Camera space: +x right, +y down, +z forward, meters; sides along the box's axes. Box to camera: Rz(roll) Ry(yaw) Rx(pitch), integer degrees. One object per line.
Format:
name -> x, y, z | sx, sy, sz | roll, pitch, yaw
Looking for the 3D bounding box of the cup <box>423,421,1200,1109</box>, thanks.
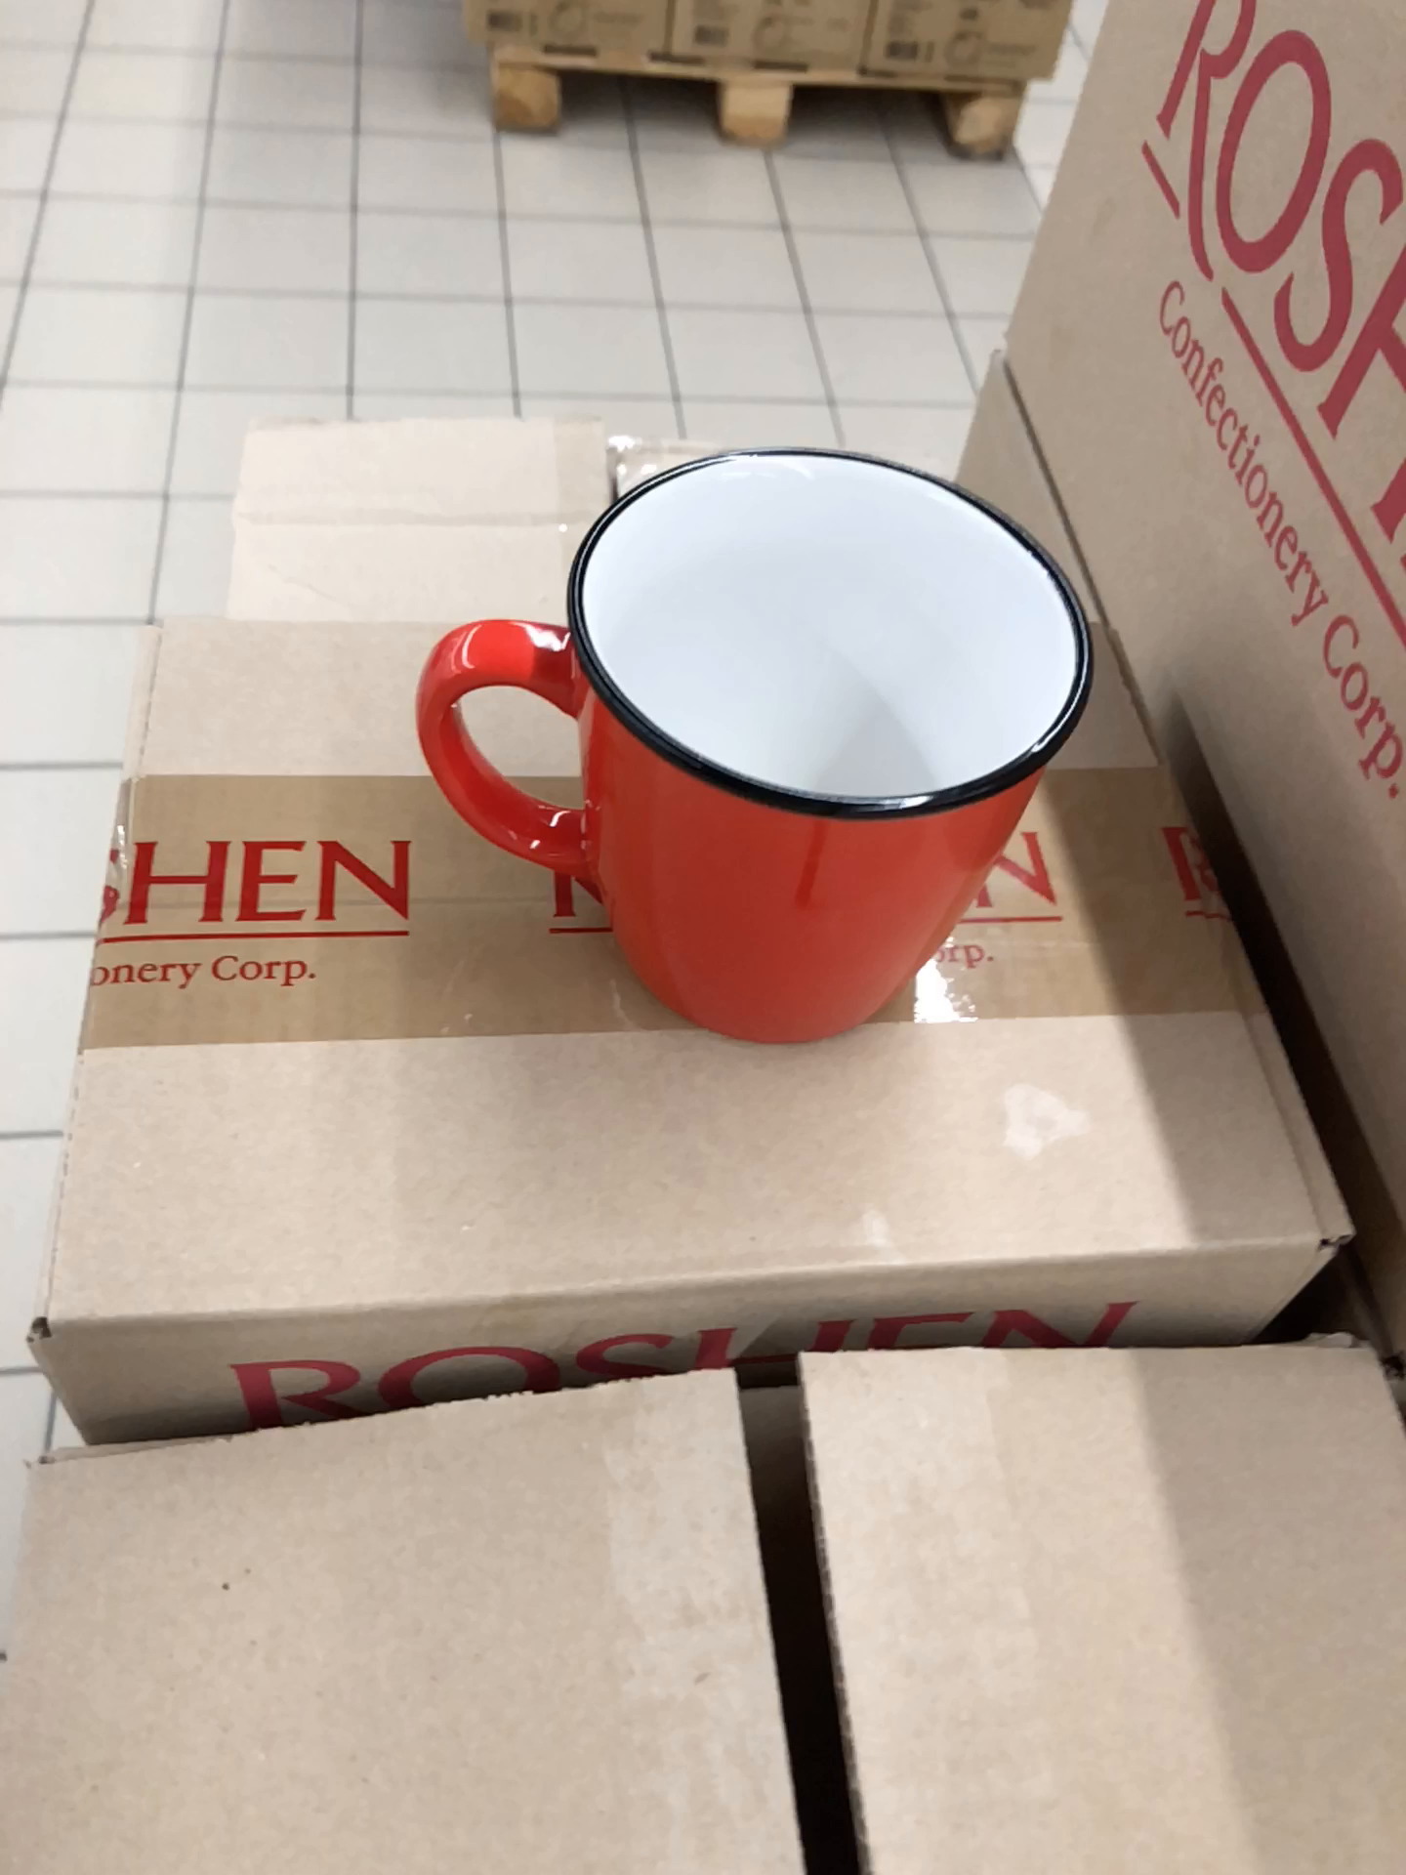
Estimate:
cup -> 0.013, -0.032, 0.314 | 0.127, 0.089, 0.097 | 3, 54, -6
